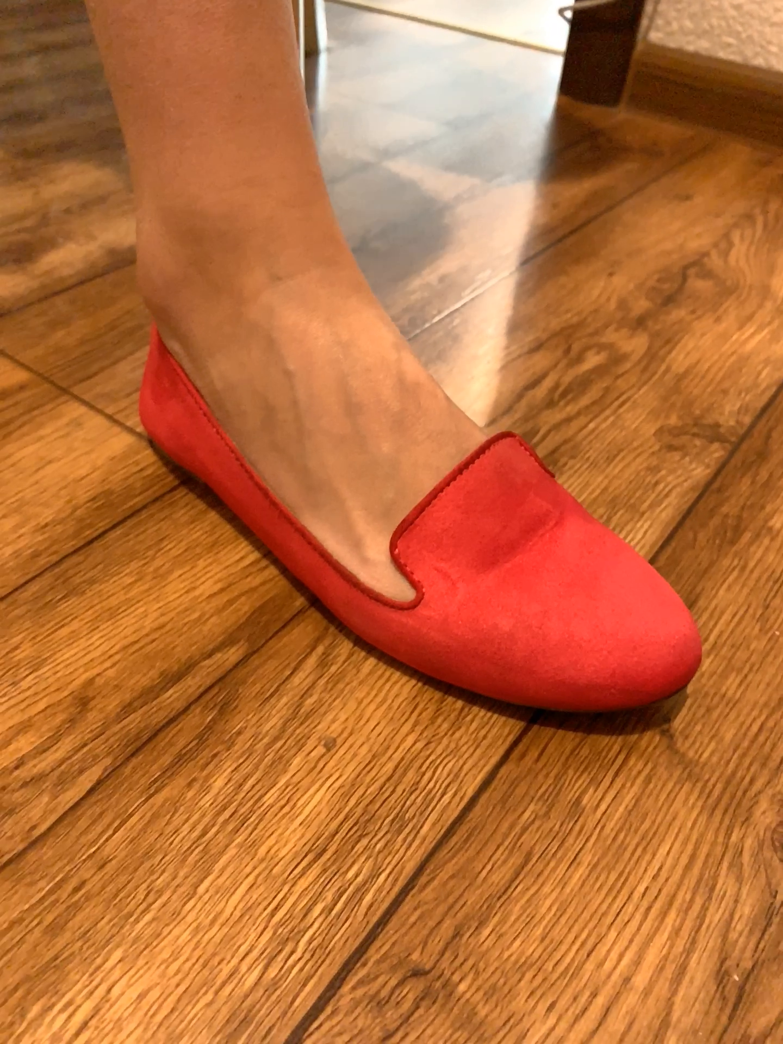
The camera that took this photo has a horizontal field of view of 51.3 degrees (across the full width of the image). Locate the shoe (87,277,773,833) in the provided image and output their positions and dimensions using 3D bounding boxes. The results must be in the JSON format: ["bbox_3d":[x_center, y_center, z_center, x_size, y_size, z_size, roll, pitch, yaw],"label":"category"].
[{"bbox_3d":[0.000,-0.008,0.286,0.220,0.060,0.087,33,49,28],"label":"shoe"}]
